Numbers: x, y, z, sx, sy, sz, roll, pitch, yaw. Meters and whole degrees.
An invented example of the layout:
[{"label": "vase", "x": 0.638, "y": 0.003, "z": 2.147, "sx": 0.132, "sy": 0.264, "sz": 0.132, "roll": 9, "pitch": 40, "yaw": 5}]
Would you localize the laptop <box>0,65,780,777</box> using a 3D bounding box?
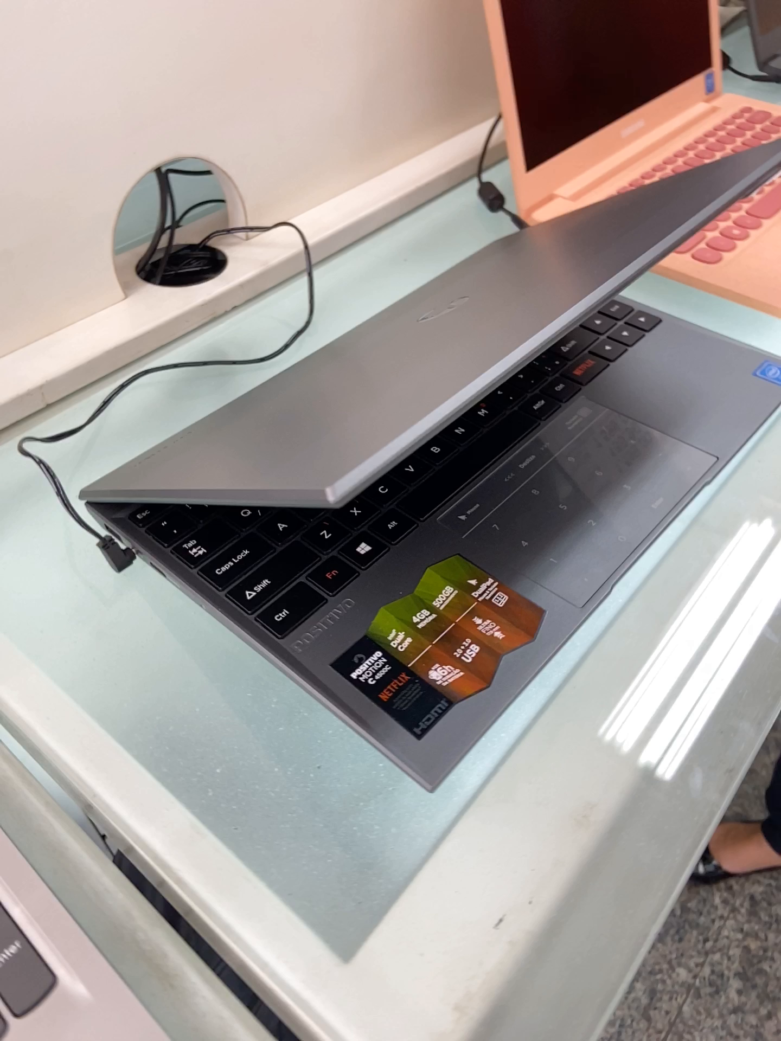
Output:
[{"label": "laptop", "x": 0.044, "y": -0.089, "z": 0.379, "sx": 0.211, "sy": 0.113, "sz": 0.334, "roll": 33, "pitch": 54, "yaw": 28}]
